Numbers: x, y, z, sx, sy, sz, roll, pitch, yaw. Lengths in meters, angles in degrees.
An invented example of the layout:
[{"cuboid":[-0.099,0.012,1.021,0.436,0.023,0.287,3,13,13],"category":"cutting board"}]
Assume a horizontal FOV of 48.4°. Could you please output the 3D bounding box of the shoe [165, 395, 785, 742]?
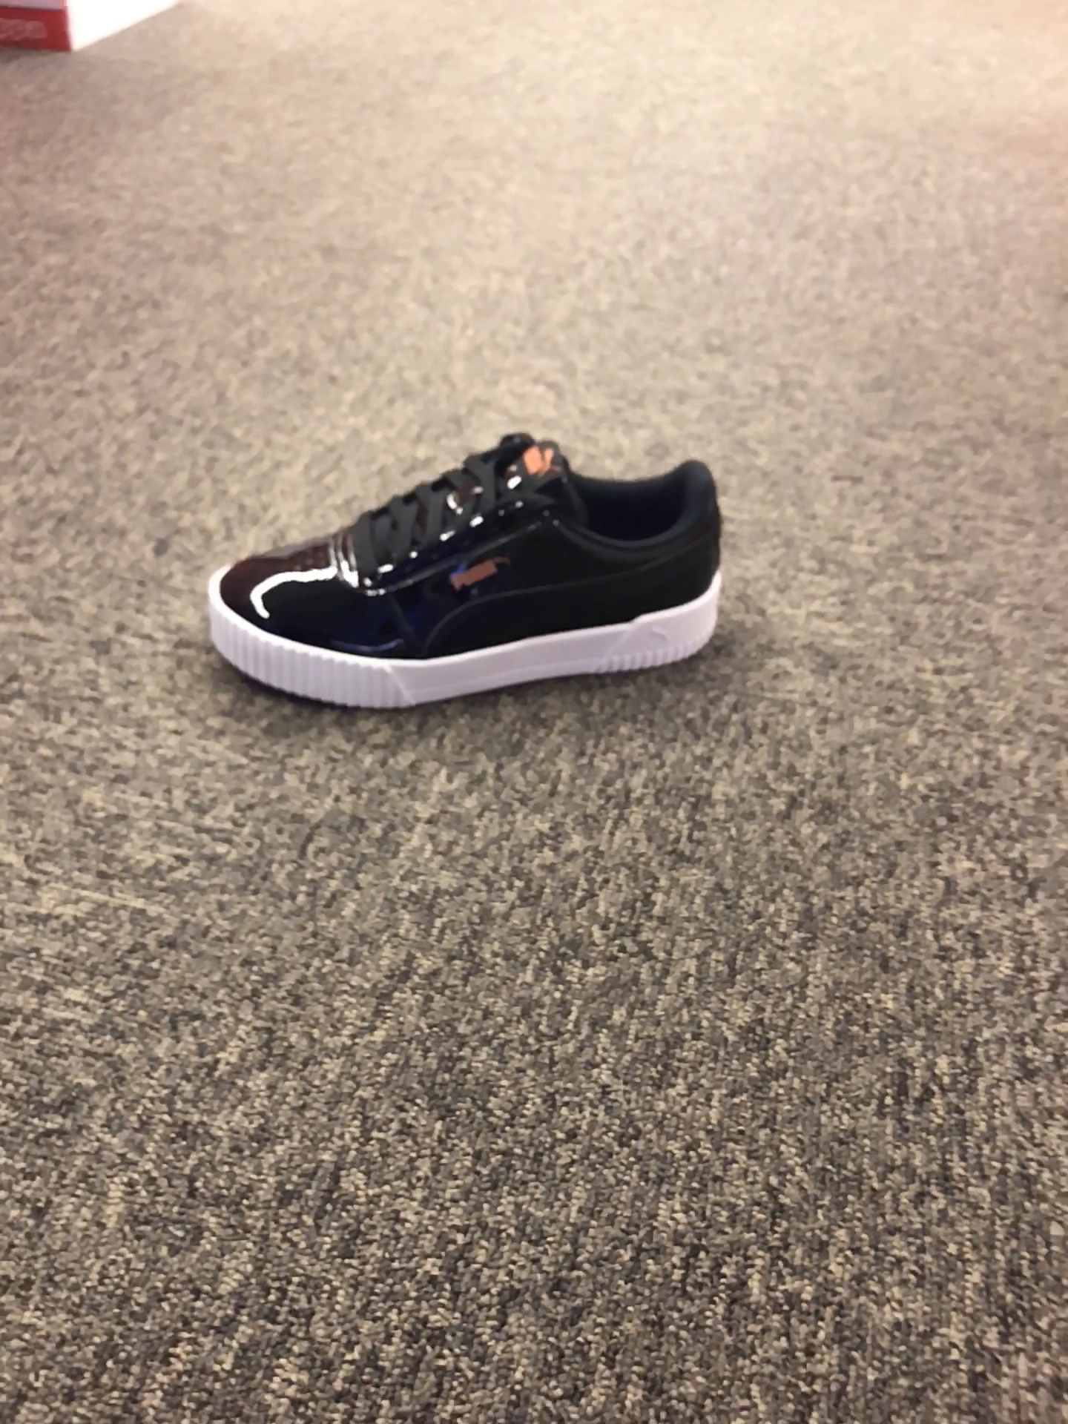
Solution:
[{"cuboid":[-0.029,-0.072,0.564,0.260,0.099,0.100,-7,42,-8],"category":"shoe"}]
